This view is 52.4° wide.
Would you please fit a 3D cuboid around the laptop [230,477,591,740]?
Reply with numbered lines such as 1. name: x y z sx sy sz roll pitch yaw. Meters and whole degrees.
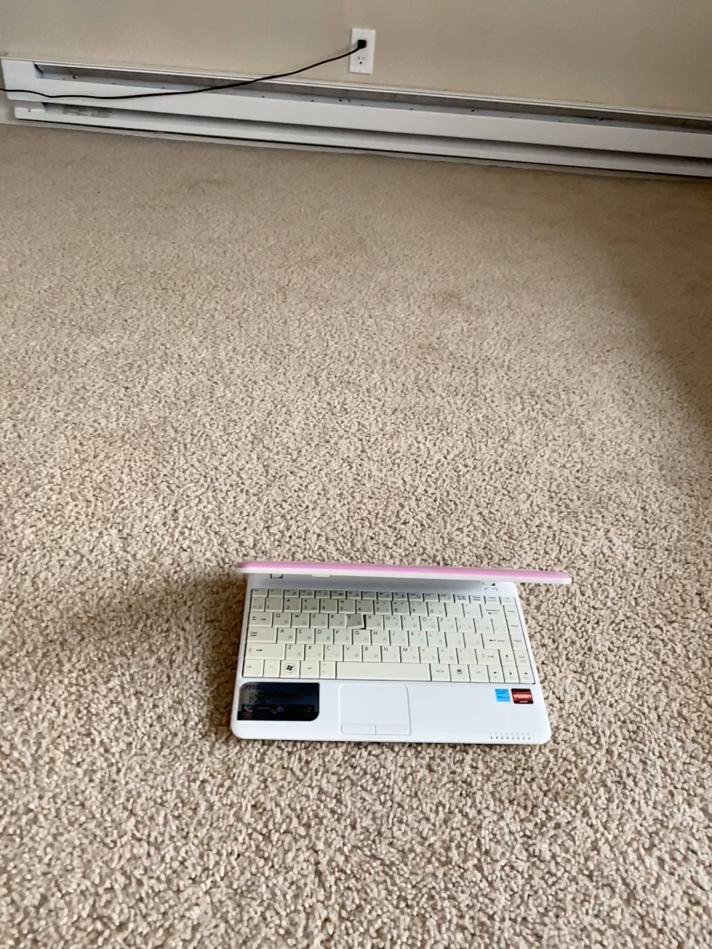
1. laptop: 0.039 0.122 0.686 0.290 0.125 0.194 2 40 -4
